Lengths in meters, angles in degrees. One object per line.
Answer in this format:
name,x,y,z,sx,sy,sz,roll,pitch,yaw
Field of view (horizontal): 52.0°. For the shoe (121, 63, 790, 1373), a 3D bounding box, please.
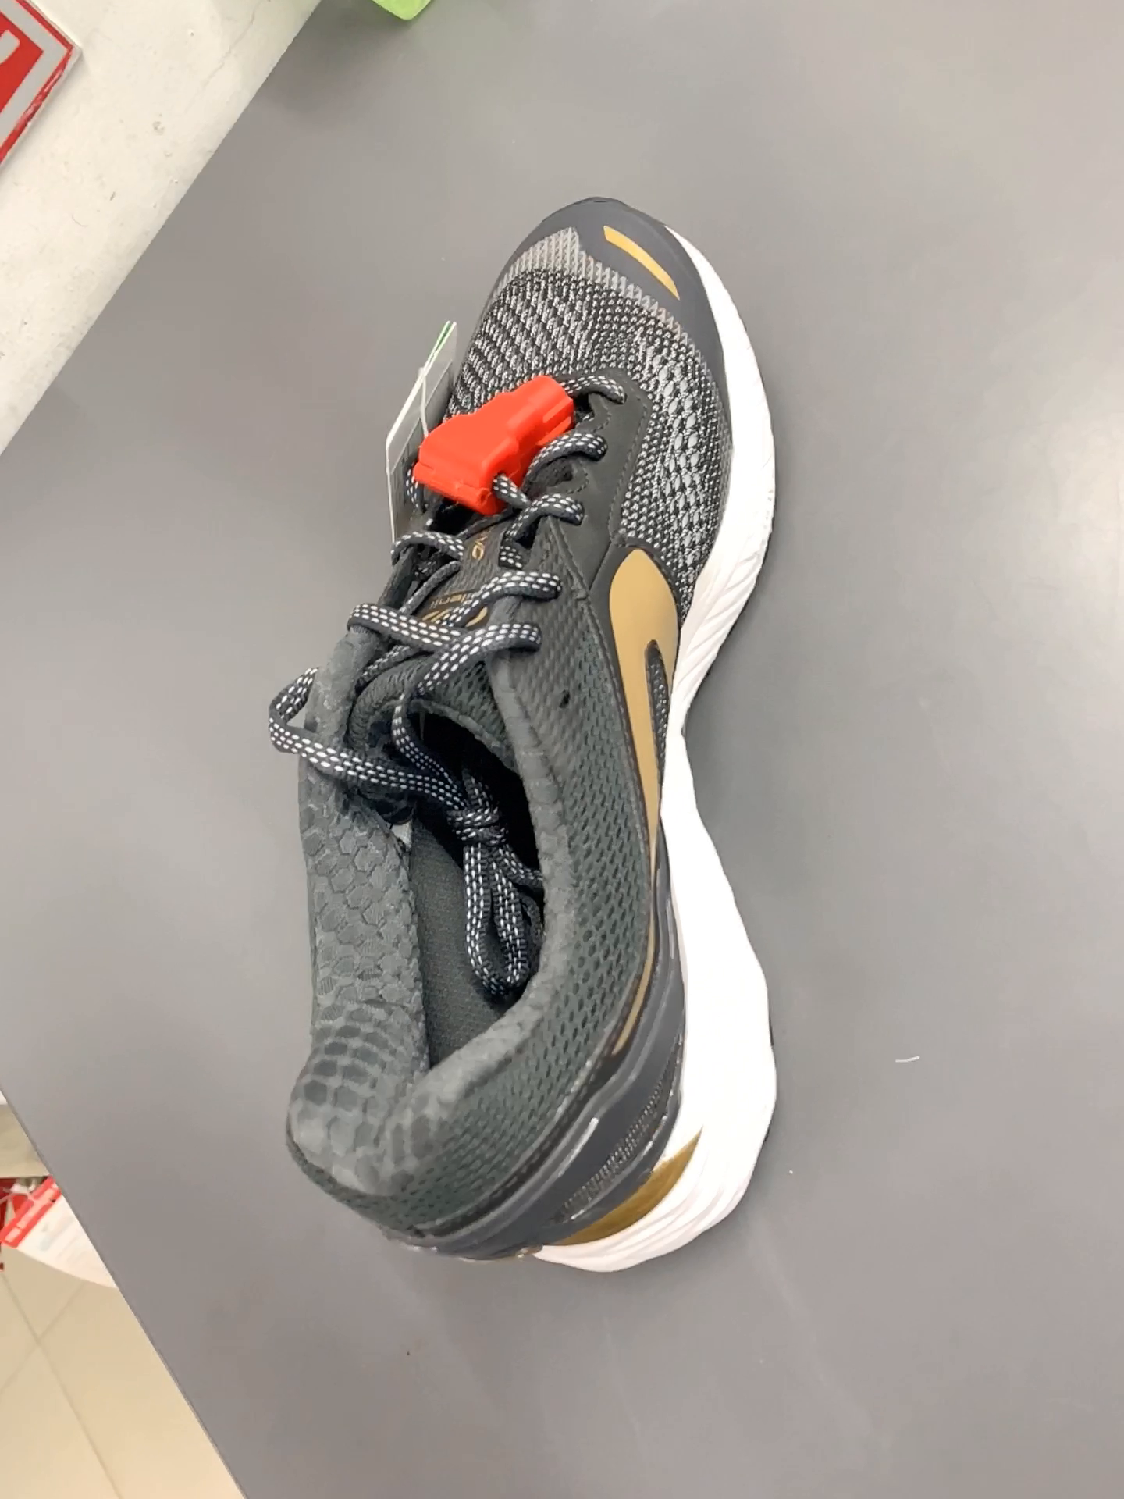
shoe,-0.011,-0.008,0.261,0.100,0.090,0.240,-5,72,26
